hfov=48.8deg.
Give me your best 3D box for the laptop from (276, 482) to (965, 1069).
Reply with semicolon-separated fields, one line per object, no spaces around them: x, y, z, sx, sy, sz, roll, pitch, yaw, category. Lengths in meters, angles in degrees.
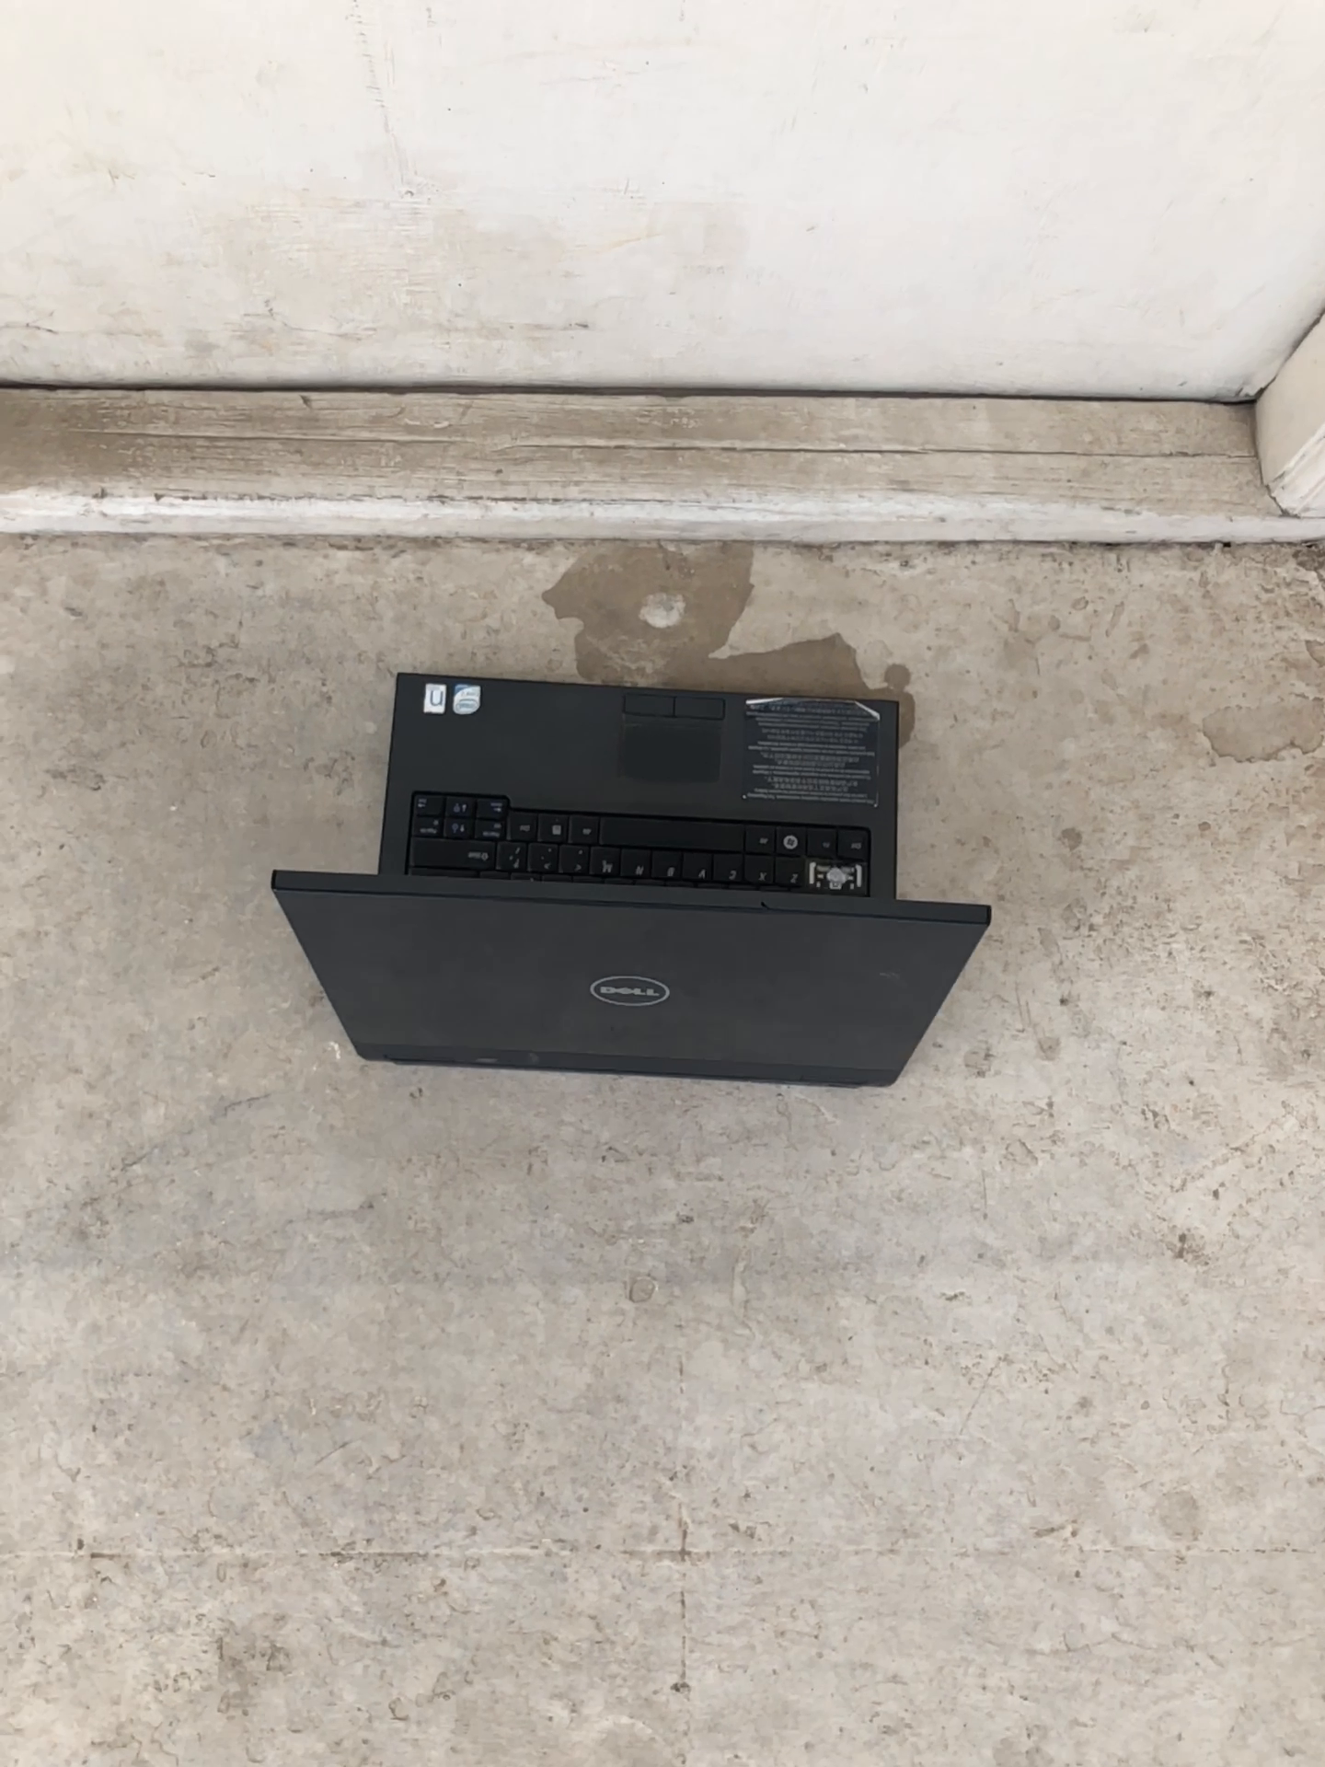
-0.017;-0.036;0.753;0.279;0.253;0.224;4;78;0;laptop
